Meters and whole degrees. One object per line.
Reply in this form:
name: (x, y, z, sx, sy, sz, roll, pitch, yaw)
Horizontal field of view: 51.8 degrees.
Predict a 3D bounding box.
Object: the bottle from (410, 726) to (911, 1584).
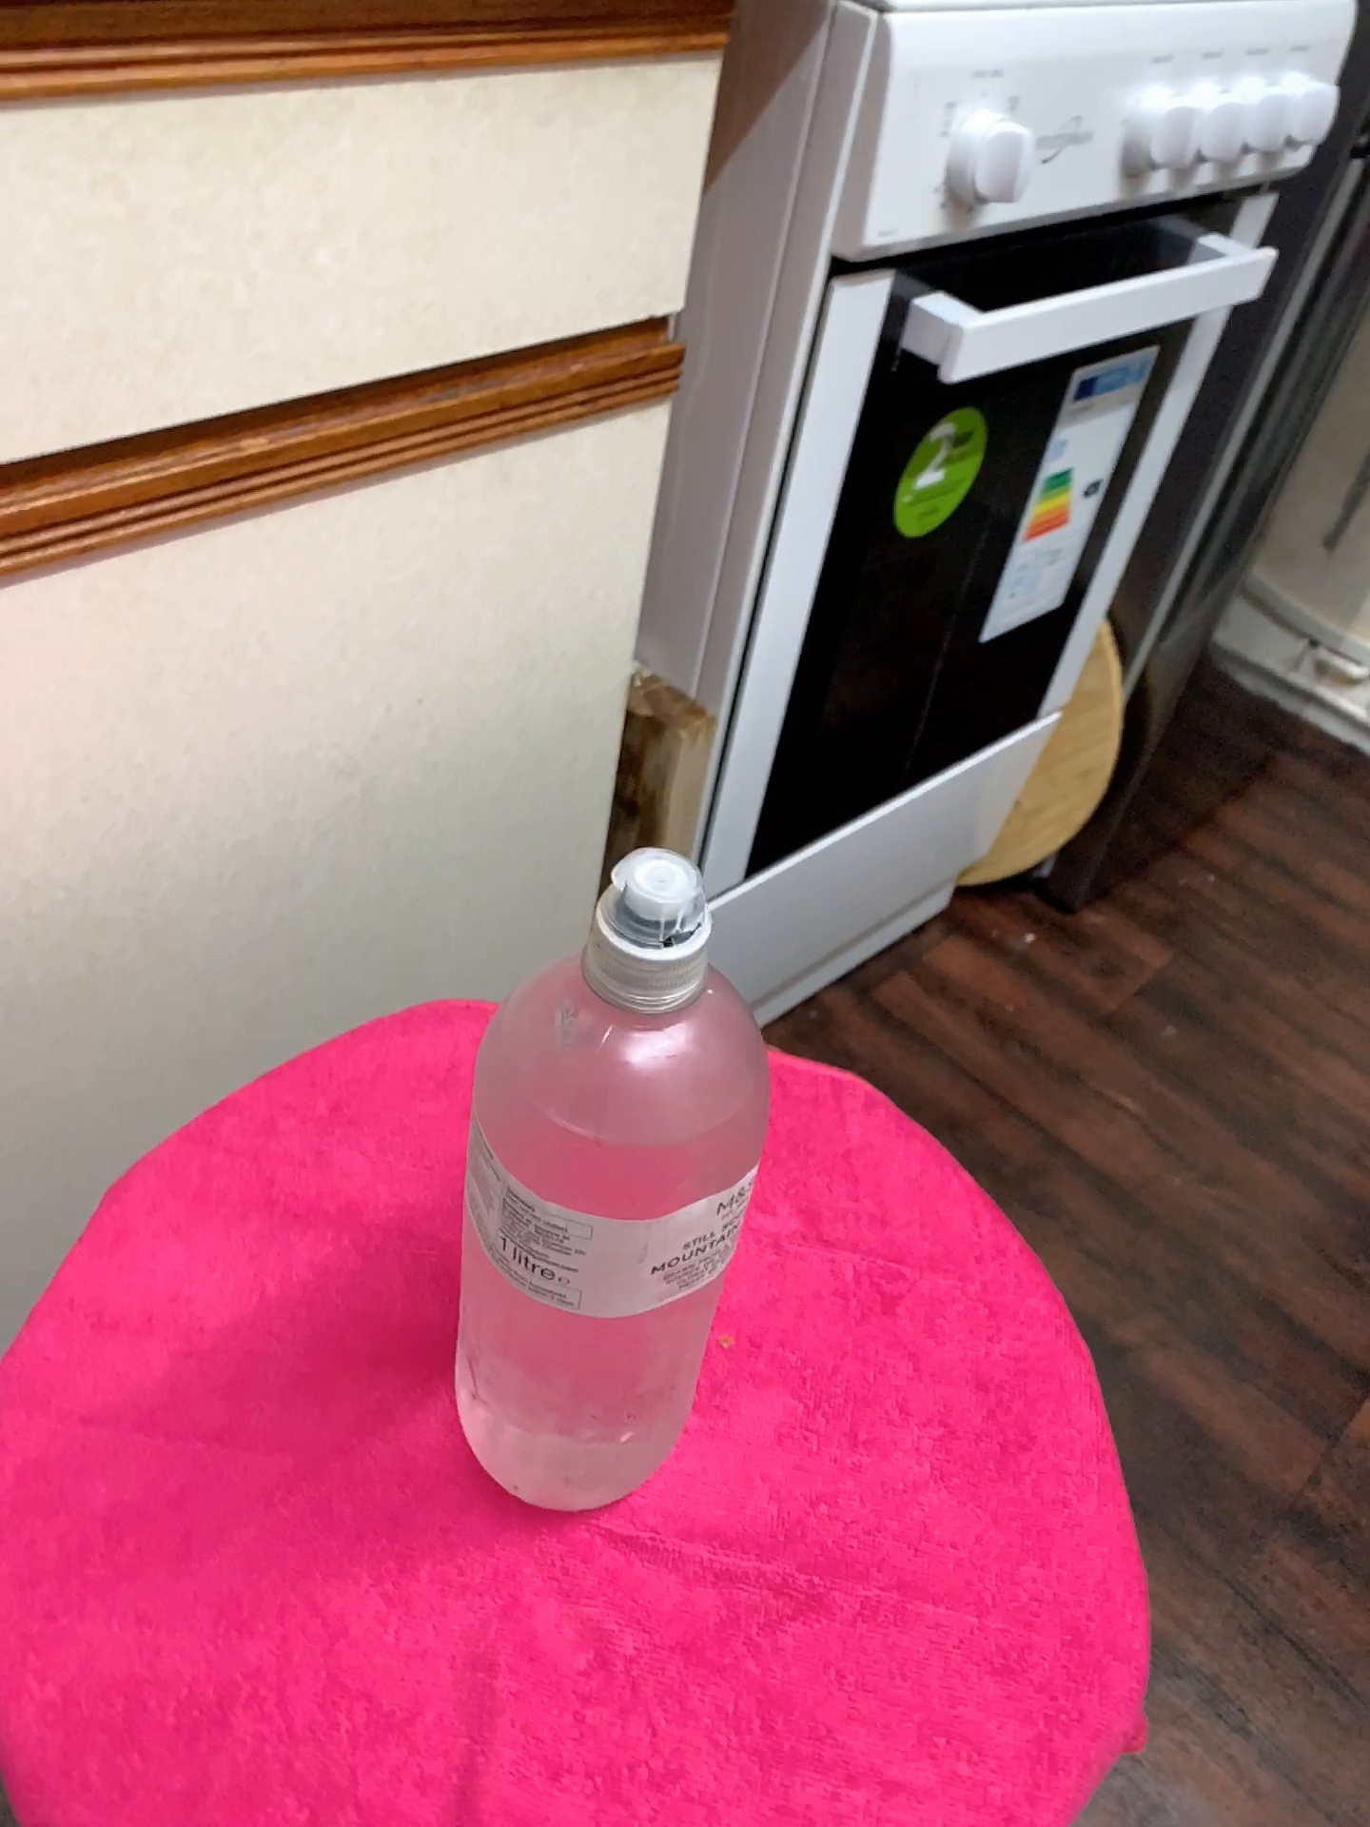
bottle: (-0.019, 0.085, 0.420, 0.080, 0.257, 0.091, 27, 44, 16)
